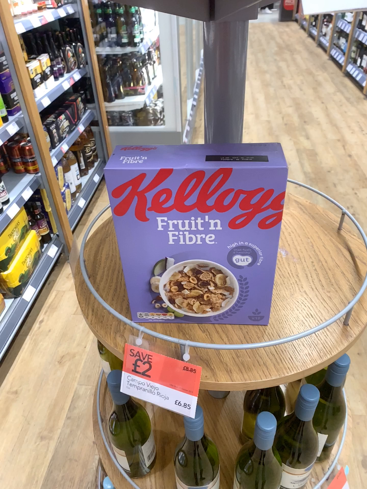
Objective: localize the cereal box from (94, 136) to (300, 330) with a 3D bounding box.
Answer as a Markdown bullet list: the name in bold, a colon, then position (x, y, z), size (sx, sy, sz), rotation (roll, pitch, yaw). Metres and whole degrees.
- **cereal box**: position (0.018, -0.004, 0.464), size (0.200, 0.238, 0.071), rotation (1, 37, 5)
